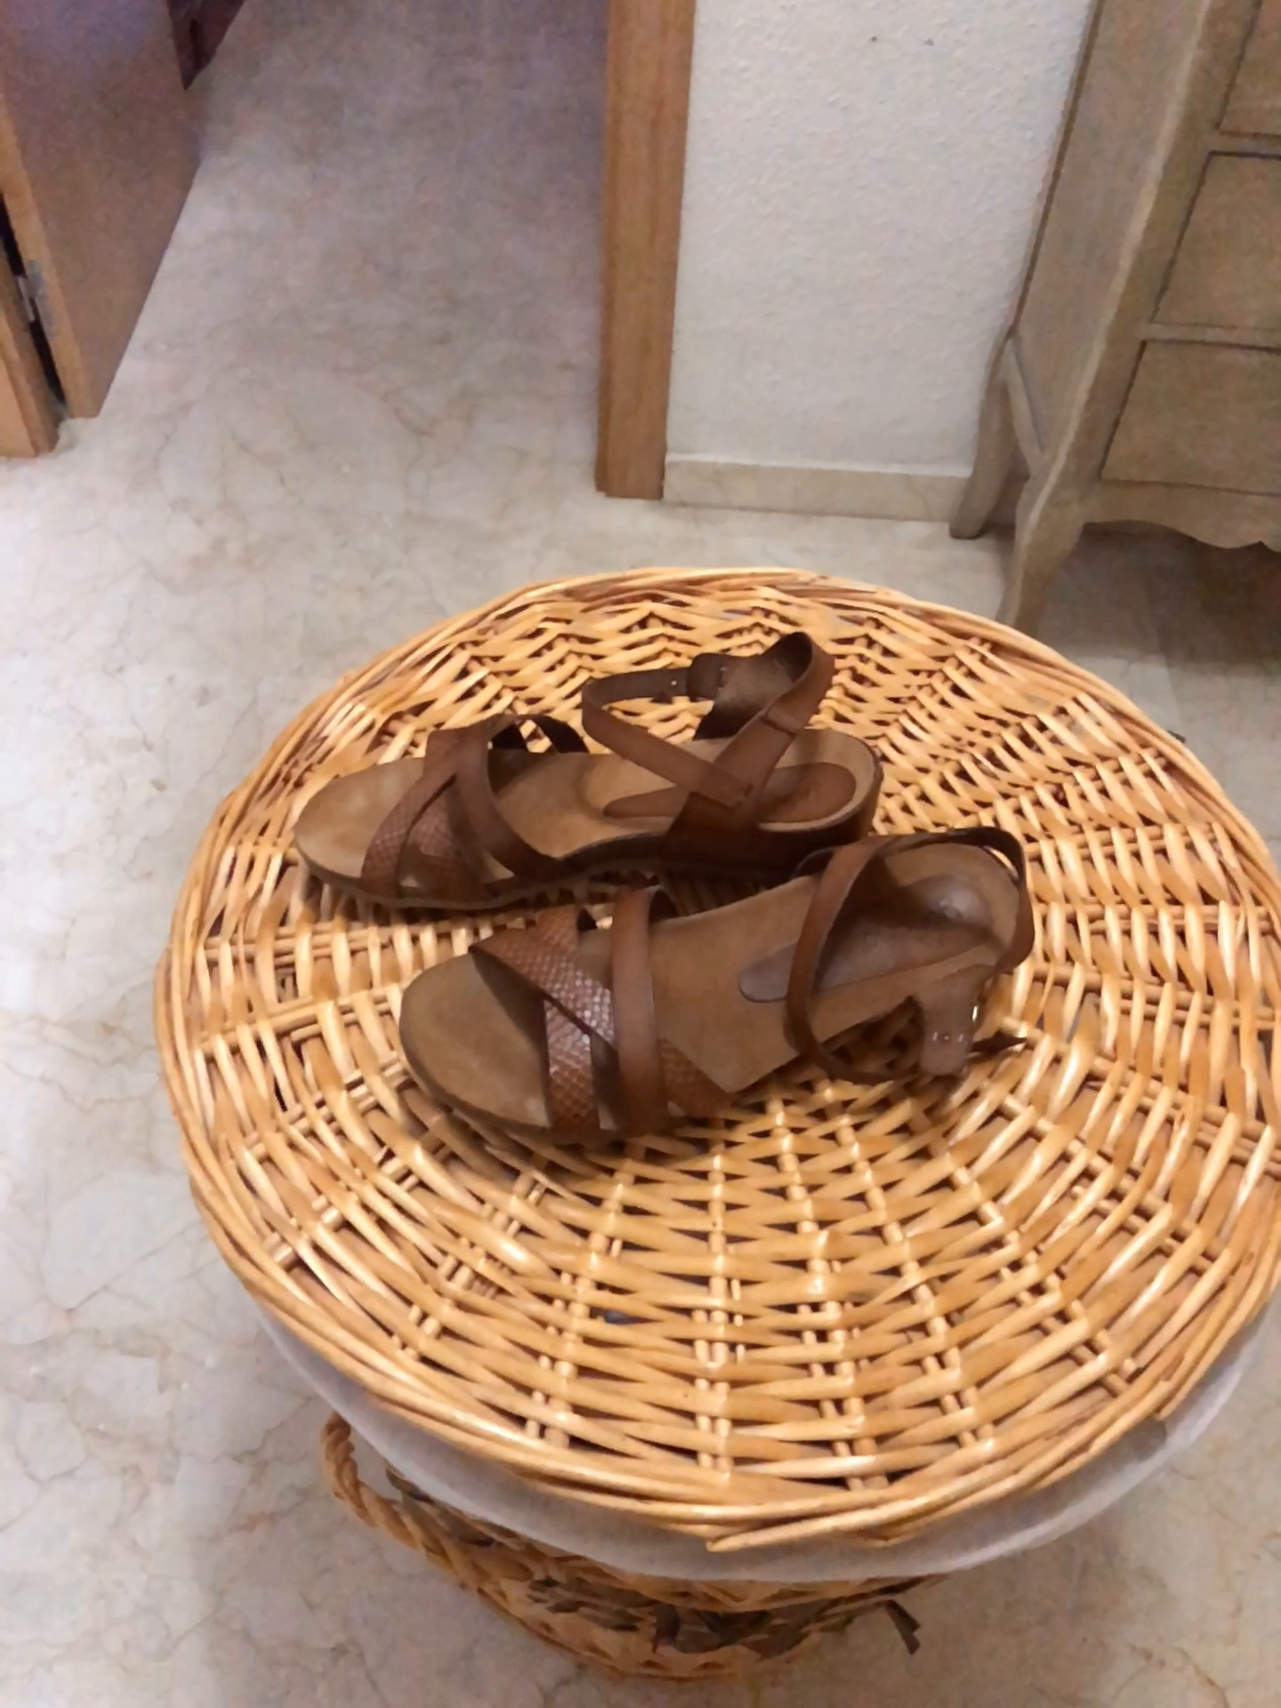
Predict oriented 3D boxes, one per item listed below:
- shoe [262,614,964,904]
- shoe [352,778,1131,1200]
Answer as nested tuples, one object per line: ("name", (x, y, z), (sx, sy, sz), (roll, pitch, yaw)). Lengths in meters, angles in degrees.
("shoe", (-0.008, -0.040, 0.617), (0.280, 0.070, 0.100), (-1, 50, 7))
("shoe", (0.036, 0.048, 0.561), (0.280, 0.060, 0.100), (-10, 51, -11))
